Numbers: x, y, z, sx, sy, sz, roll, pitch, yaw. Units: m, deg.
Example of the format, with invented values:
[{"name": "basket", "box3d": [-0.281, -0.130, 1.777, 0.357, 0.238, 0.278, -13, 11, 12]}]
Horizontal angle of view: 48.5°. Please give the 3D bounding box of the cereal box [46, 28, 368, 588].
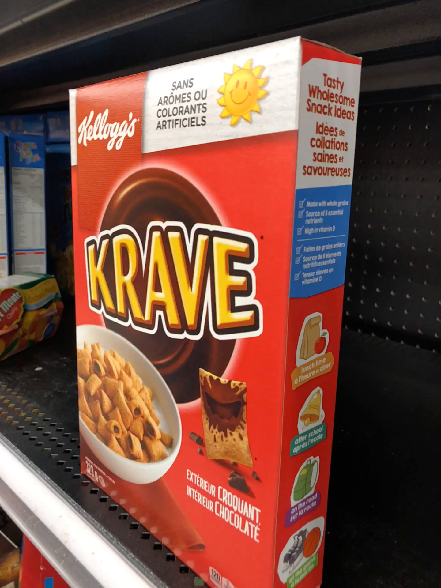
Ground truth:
[{"name": "cereal box", "box3d": [-0.031, 0.015, 0.300, 0.050, 0.279, 0.210, -9, 17, -43]}]
